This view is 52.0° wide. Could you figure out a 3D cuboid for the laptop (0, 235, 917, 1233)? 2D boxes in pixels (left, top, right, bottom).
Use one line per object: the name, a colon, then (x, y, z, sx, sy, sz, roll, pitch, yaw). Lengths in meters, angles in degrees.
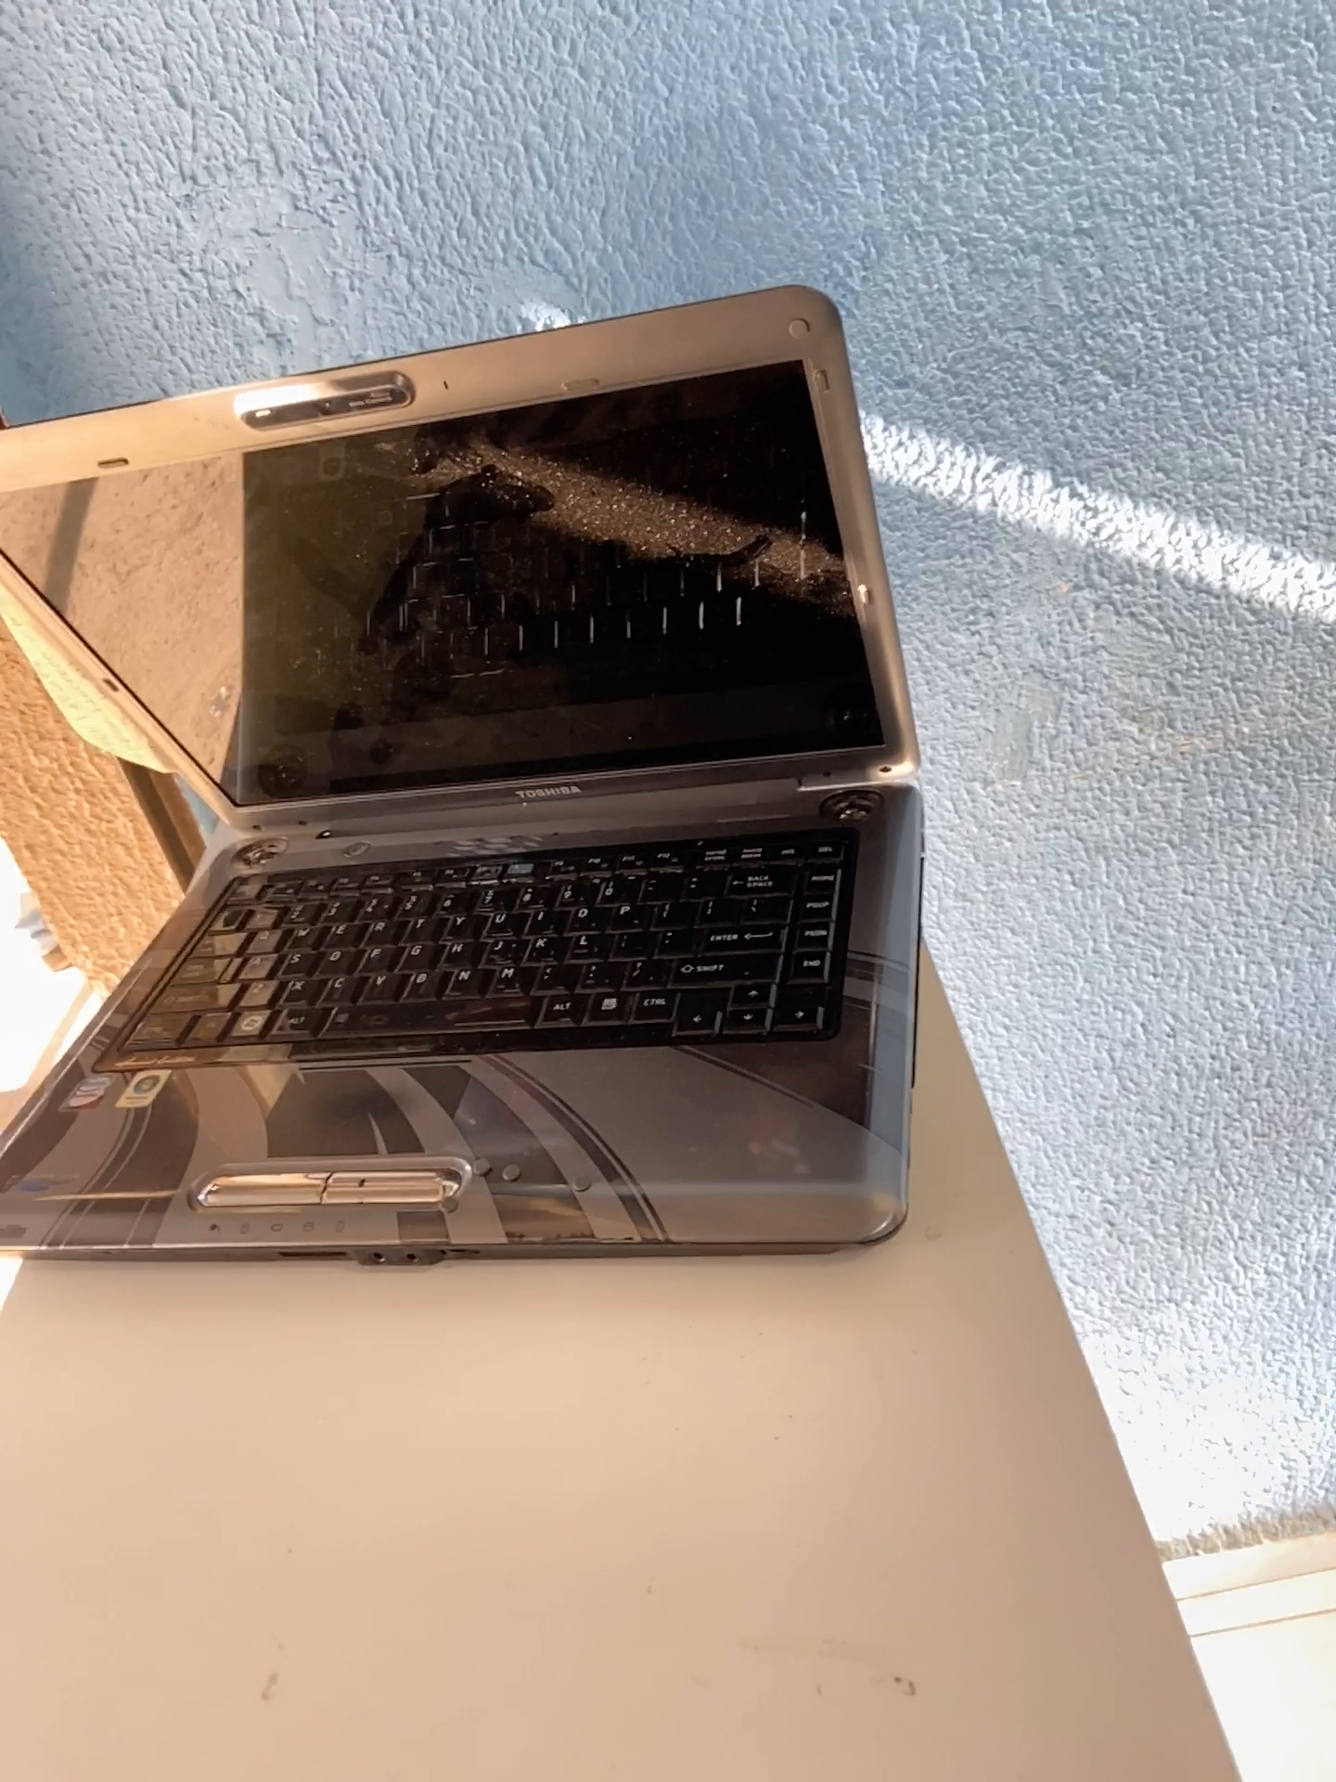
laptop: (-0.105, -0.056, 0.508, 0.358, 0.235, 0.260, -4, 34, 15)
